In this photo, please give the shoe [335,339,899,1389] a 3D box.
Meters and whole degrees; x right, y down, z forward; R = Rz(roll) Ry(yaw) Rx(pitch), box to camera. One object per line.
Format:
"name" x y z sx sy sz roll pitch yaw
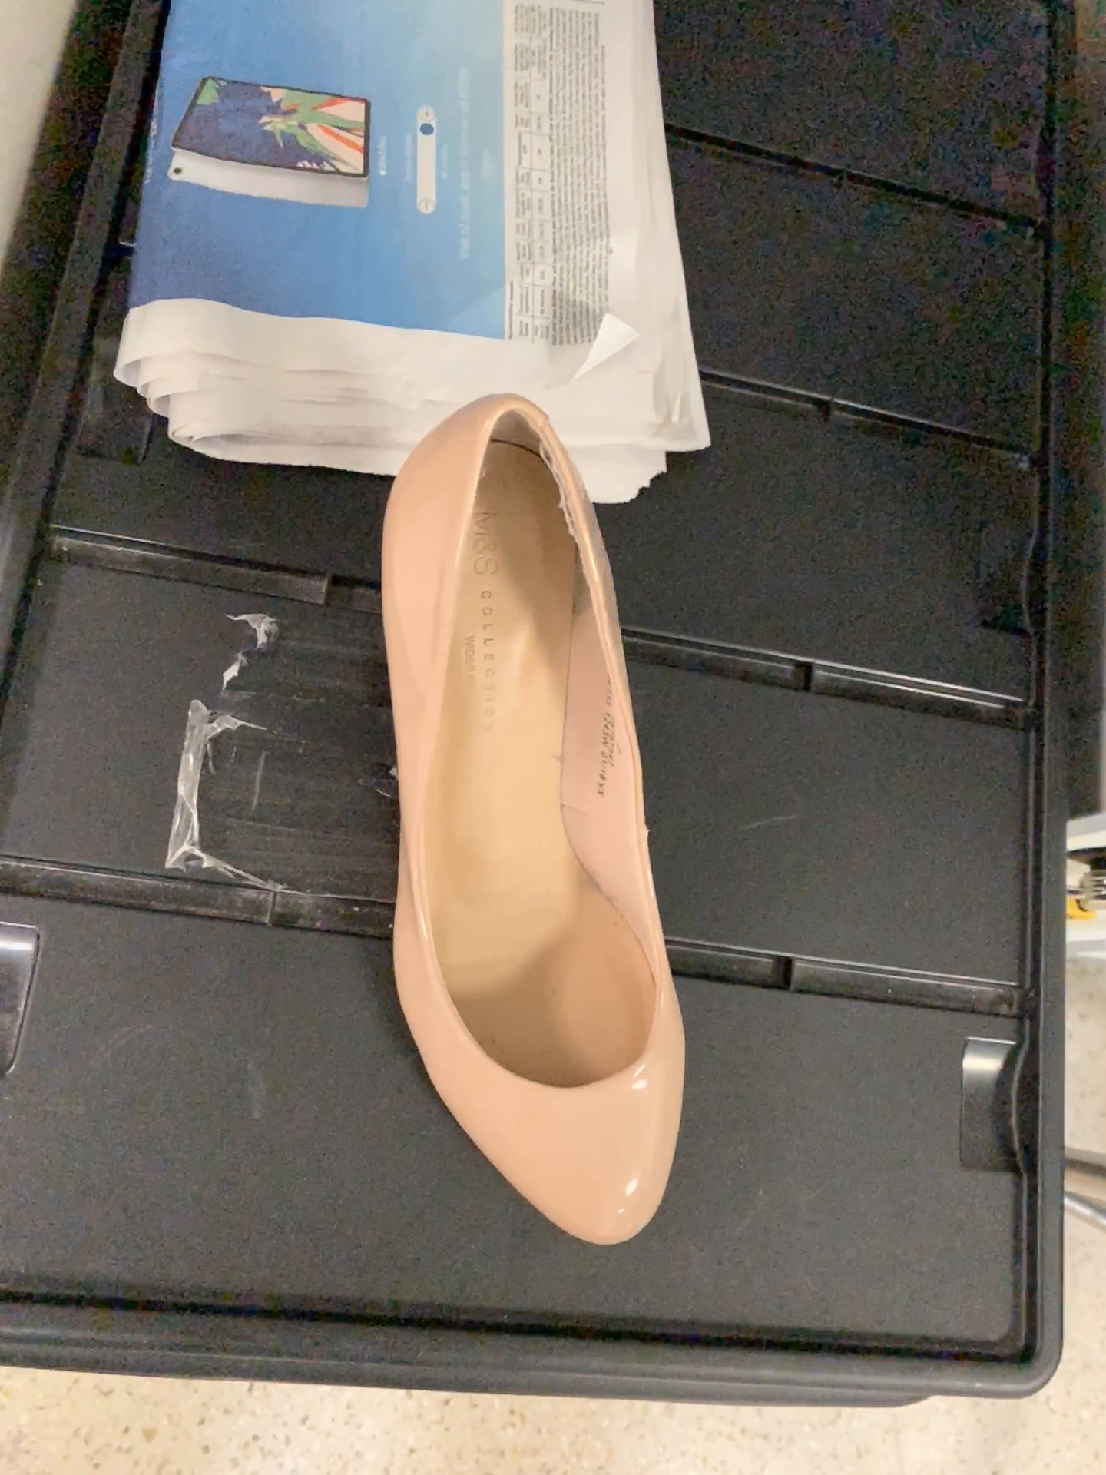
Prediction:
"shoe" -0.001 0.029 0.338 0.097 0.141 0.240 -6 79 -14
